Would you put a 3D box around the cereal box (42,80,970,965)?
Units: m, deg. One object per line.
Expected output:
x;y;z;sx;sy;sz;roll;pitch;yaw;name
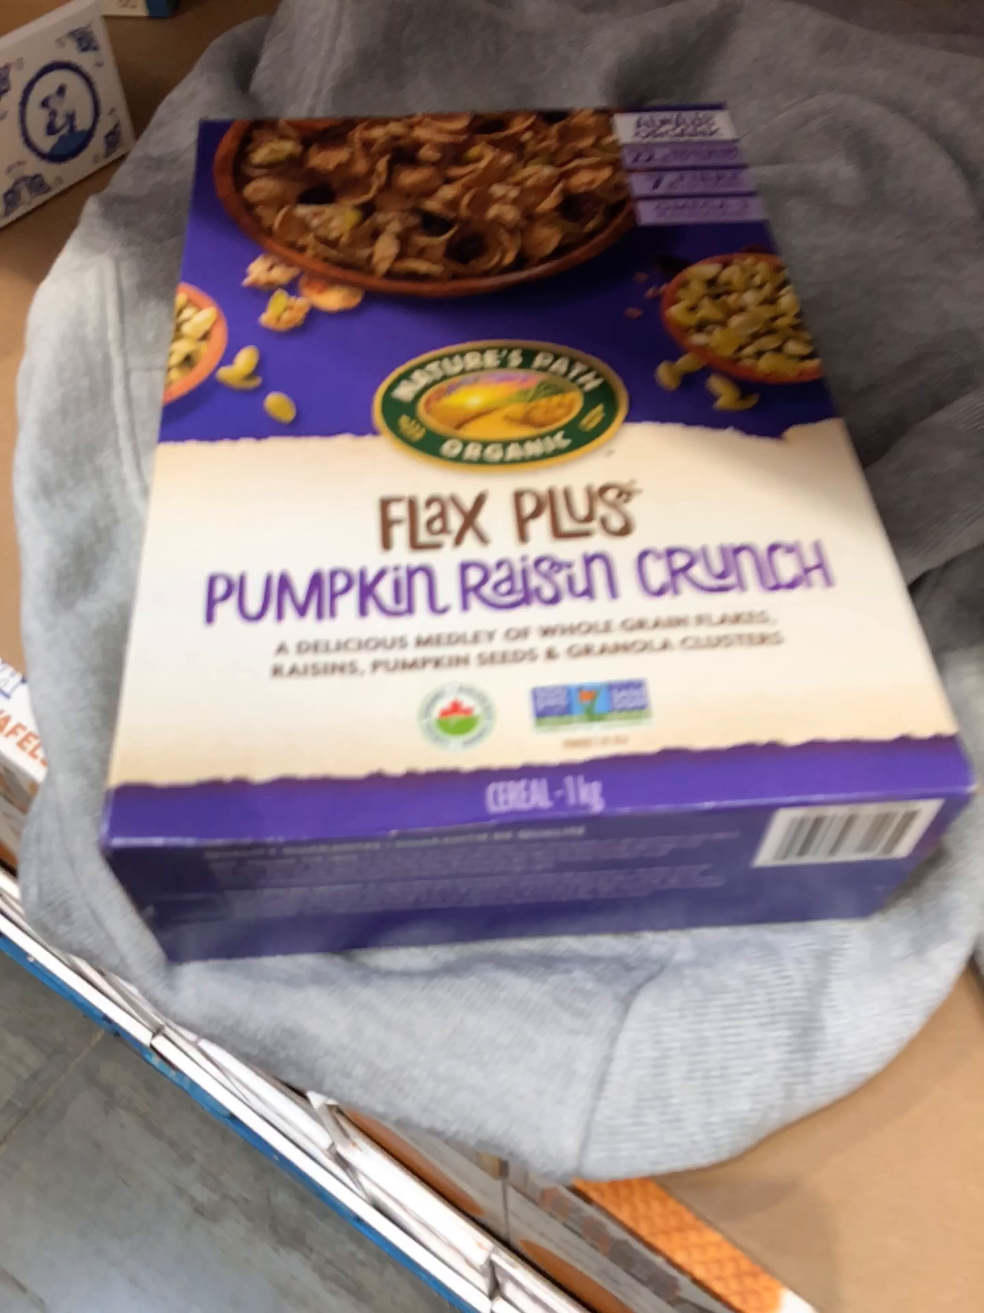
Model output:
-0.007;-0.069;0.367;0.210;0.090;0.311;-3;56;-4;cereal box
